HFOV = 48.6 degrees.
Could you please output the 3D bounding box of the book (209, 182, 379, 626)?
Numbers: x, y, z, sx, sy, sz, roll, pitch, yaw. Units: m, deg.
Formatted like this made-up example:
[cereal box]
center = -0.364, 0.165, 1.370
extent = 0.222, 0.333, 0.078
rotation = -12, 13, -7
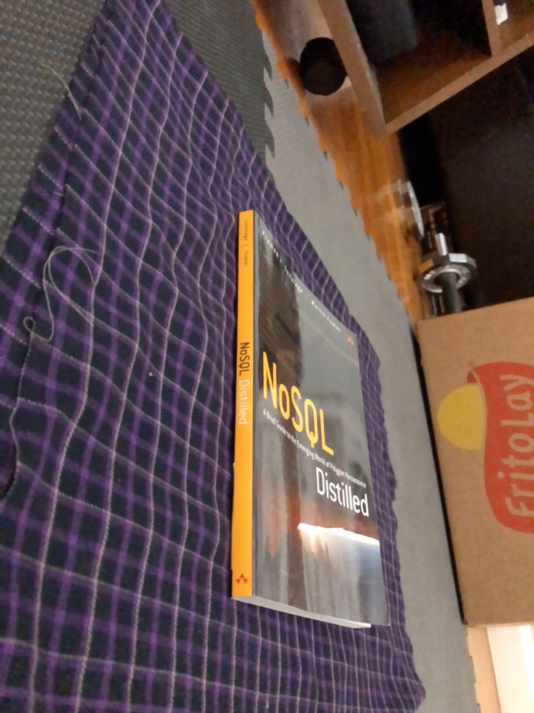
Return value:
[book]
center = 0.022, 0.038, 0.402
extent = 0.191, 0.020, 0.251
rotation = 44, 37, -51
